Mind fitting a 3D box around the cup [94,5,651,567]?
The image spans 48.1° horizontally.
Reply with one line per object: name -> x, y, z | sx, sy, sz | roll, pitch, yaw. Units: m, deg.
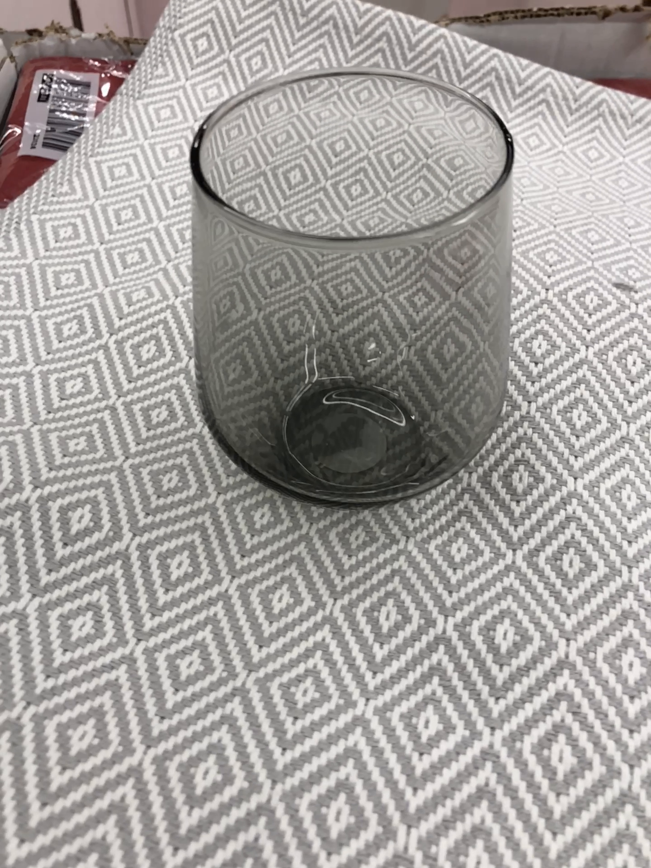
cup -> 0.006, -0.037, 0.172 | 0.080, 0.080, 0.080 | 1, 49, -1
